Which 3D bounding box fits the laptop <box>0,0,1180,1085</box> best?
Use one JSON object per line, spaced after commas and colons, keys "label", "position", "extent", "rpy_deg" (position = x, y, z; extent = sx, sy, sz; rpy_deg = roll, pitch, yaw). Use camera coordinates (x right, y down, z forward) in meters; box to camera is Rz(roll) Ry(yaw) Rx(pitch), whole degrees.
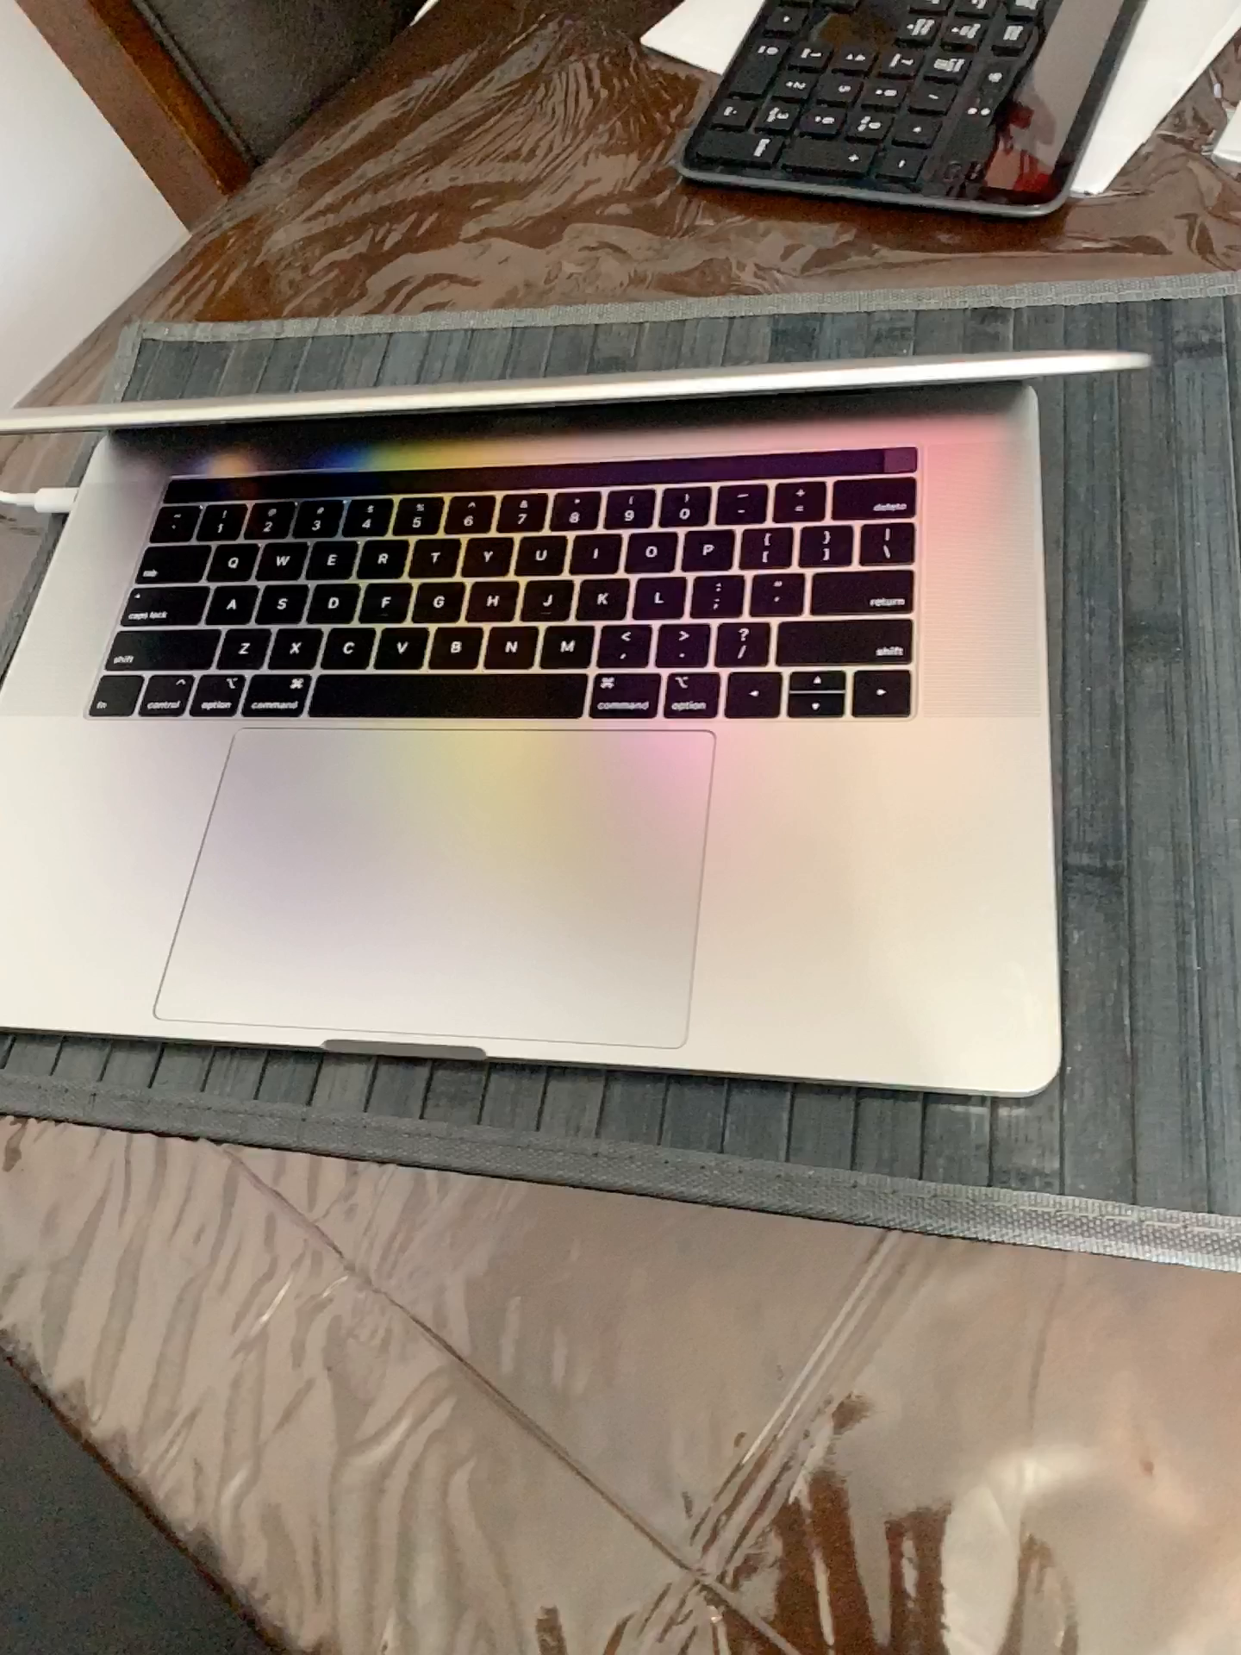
{"label": "laptop", "position": [-0.059, -0.082, 0.332], "extent": [0.340, 0.164, 0.234], "rpy_deg": [1, 63, 13]}
